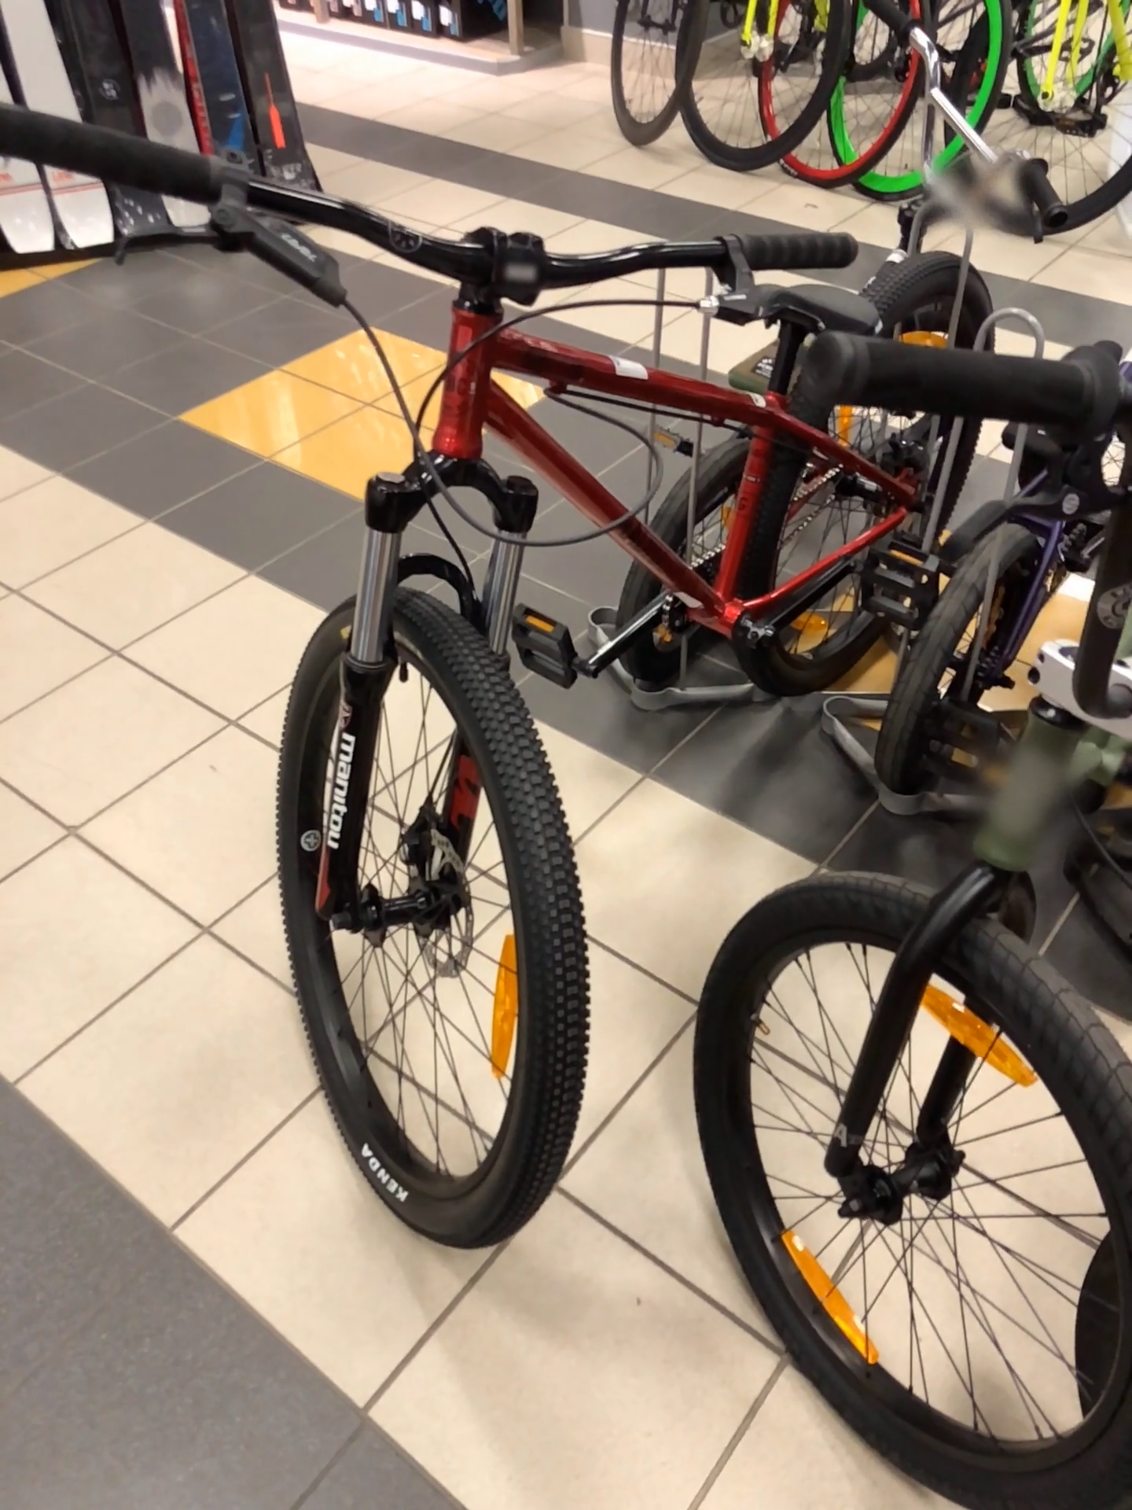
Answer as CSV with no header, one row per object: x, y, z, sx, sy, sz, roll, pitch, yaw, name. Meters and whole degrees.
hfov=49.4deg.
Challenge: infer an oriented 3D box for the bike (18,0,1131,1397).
0.256,-0.317,1.407,0.713,0.997,1.342,21,45,23,bike
